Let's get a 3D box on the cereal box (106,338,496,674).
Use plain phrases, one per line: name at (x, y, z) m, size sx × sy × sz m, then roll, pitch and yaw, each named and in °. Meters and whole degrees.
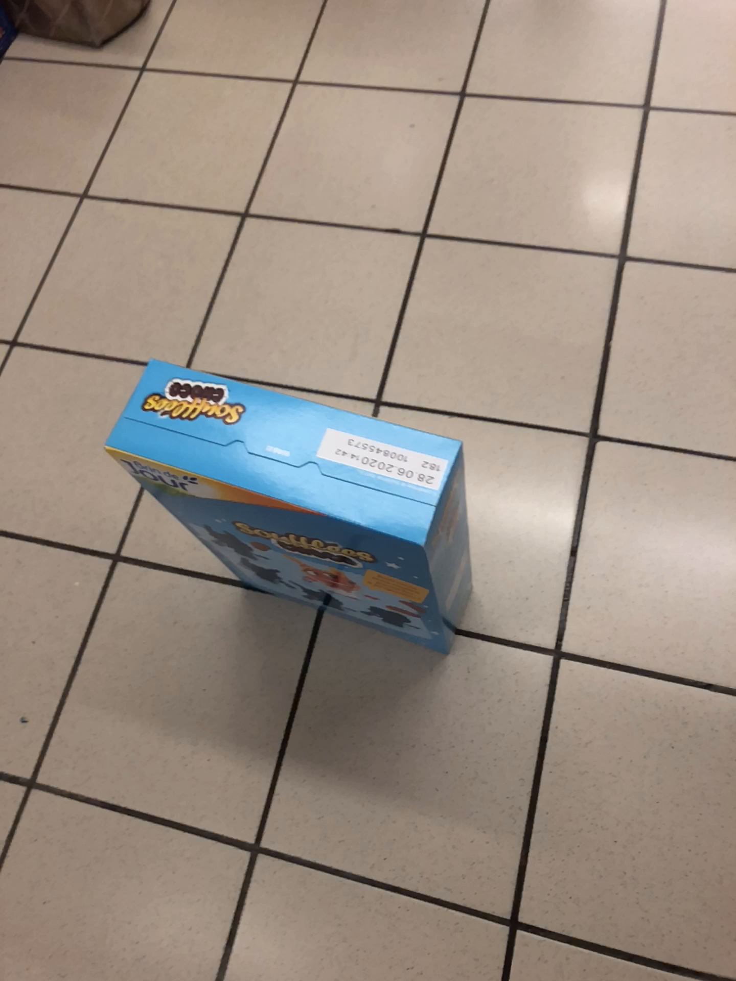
cereal box at (-0.020, 0.030, 0.572) m, size 0.200 × 0.289 × 0.080 m, roll 16°, pitch 70°, yaw 15°
